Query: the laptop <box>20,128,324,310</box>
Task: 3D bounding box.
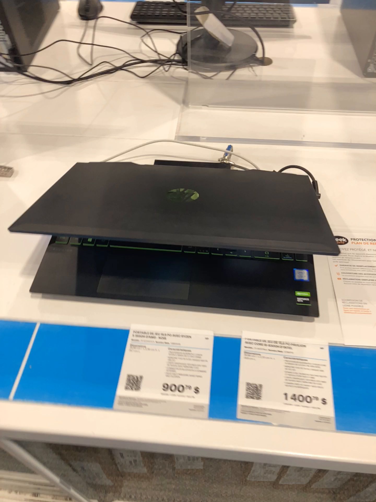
[{"bbox_3d":[-0.010,-0.052,0.543,0.339,0.064,0.222,4,56,4],"label":"laptop"}]
